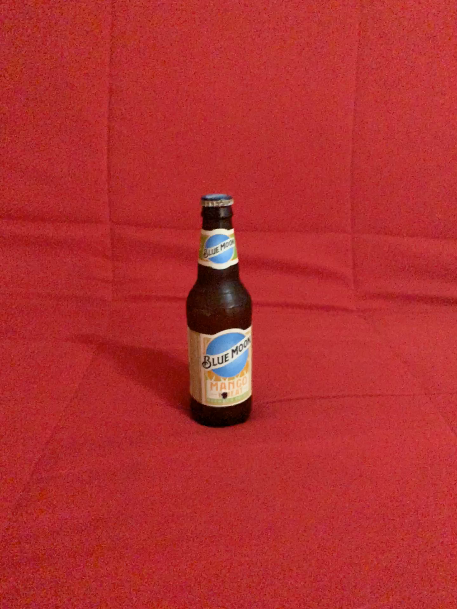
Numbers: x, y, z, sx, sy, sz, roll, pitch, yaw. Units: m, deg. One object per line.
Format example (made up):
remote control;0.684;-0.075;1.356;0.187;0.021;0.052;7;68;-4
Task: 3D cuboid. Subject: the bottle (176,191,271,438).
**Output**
bottle;-0.007;0.011;0.439;0.070;0.216;0.069;0;24;0
